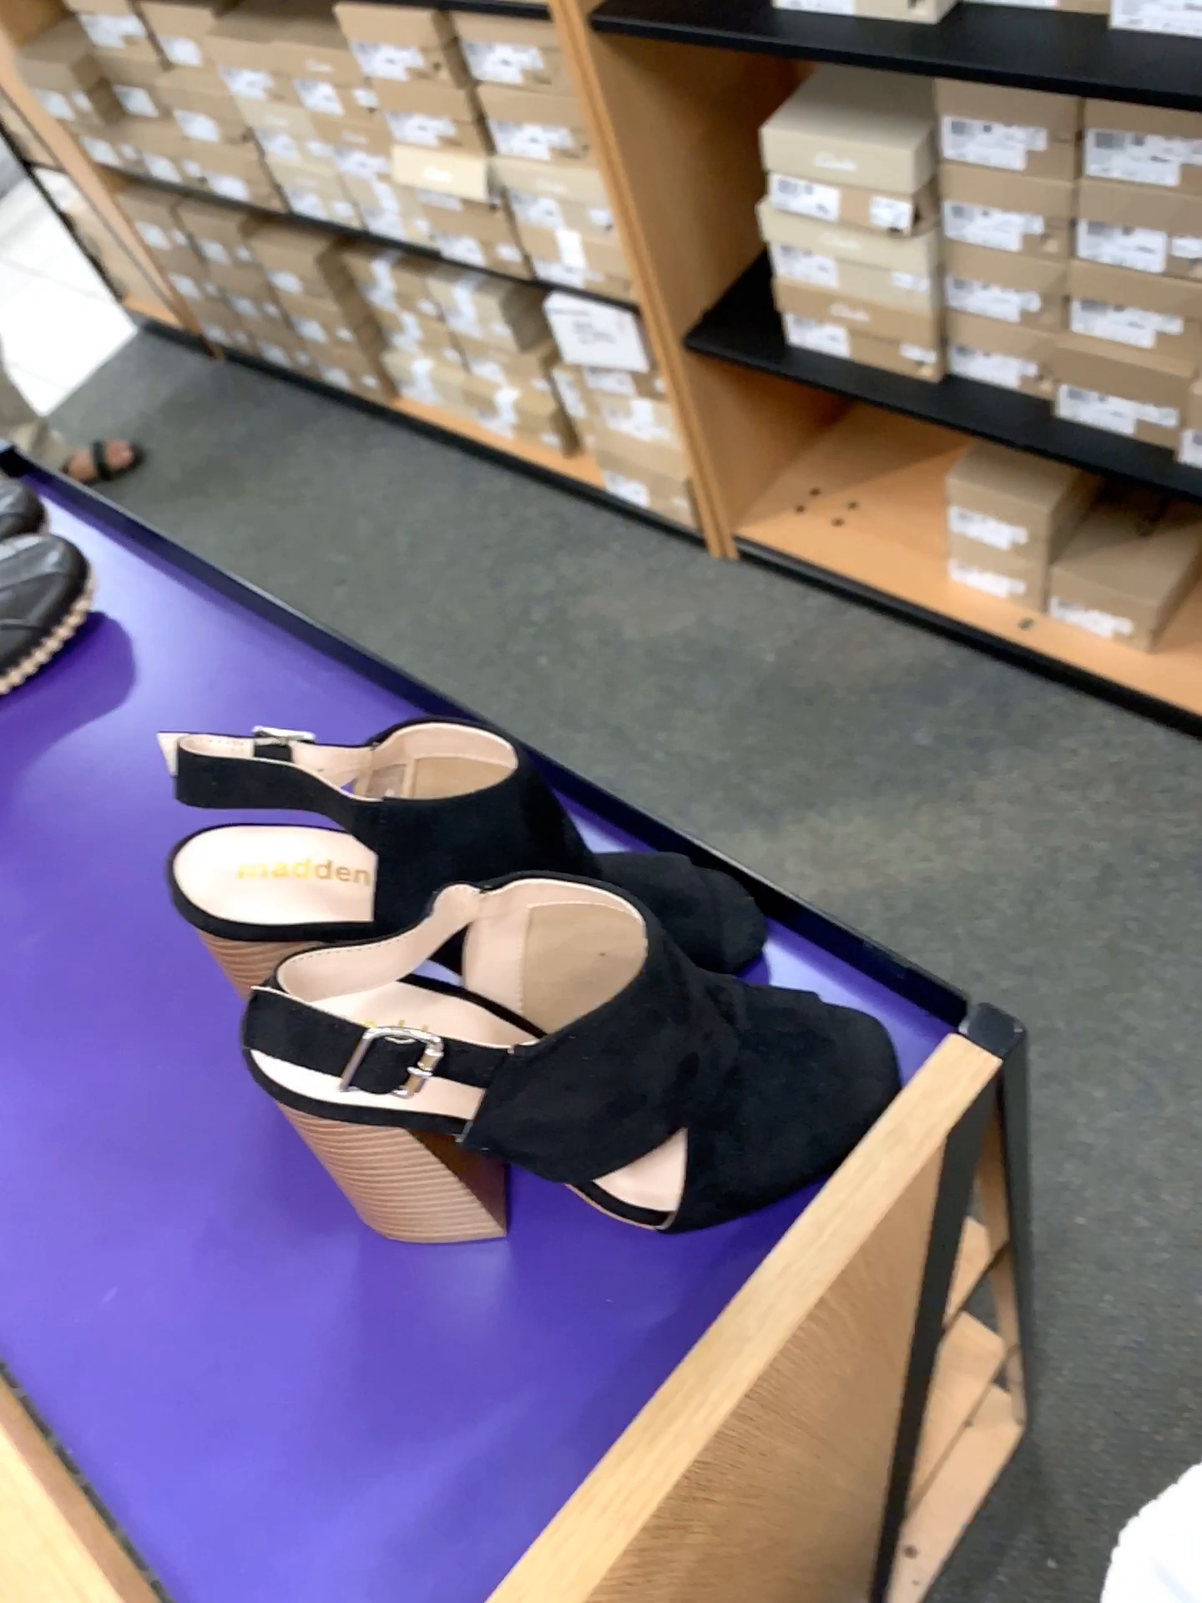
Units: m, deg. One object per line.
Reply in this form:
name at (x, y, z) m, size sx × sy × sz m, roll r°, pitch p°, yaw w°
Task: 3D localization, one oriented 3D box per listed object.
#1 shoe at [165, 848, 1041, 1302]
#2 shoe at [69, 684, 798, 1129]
shoe at (-0.006, 0.089, 0.387) m, size 0.220 × 0.140 × 0.080 m, roll -1°, pitch 56°, yaw -9°
shoe at (-0.055, 0.039, 0.441) m, size 0.220 × 0.110 × 0.080 m, roll -8°, pitch 55°, yaw -6°
